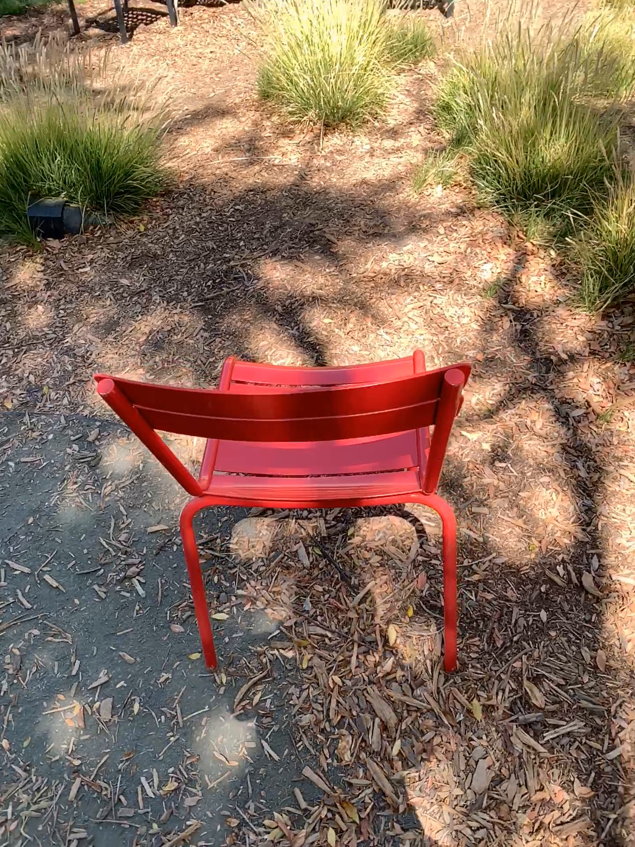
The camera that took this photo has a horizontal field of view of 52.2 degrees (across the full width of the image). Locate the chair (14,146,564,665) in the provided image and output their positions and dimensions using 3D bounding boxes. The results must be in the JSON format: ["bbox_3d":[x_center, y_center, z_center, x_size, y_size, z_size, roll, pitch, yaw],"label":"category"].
[{"bbox_3d":[-0.006,0.024,1.200,0.610,0.786,0.572,-1,52,4],"label":"chair"}]
